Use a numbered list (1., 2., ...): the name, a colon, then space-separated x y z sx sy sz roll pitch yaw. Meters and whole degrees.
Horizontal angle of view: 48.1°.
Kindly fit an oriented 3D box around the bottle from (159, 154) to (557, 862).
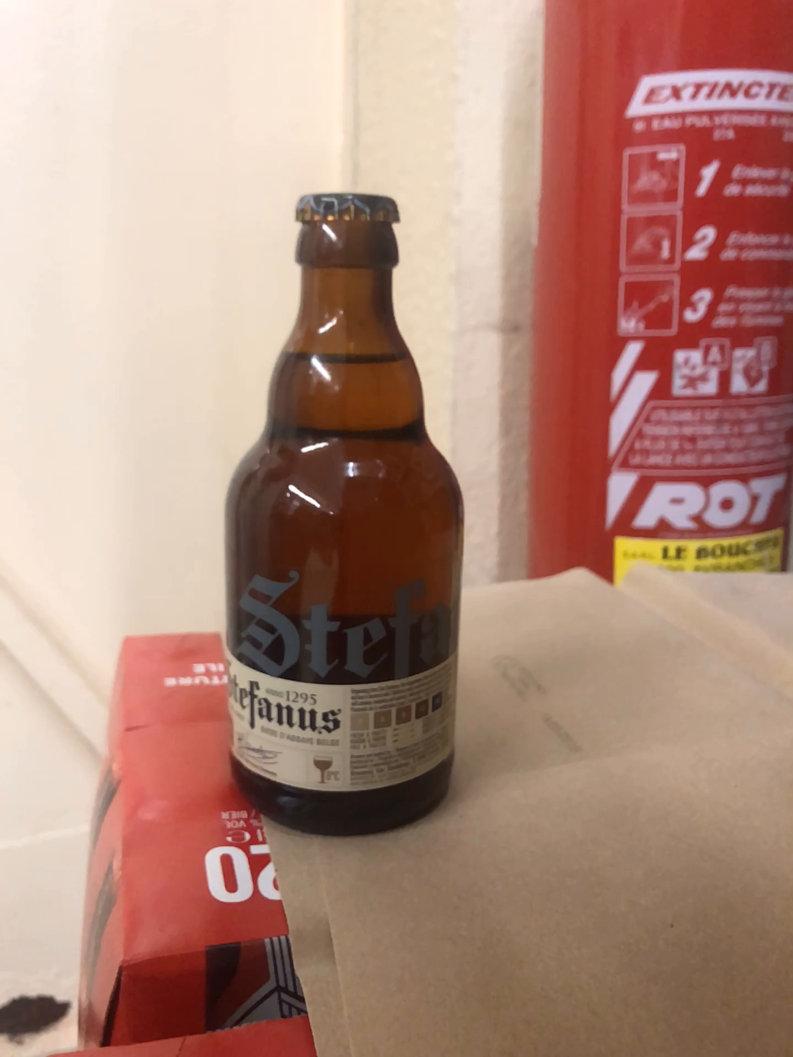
1. bottle: -0.014 -0.010 0.264 0.080 0.169 0.080 1 12 0
